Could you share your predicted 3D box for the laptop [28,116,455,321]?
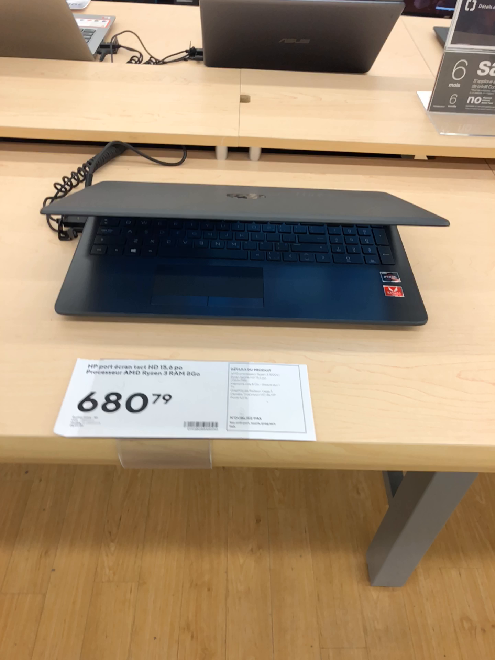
[{"bbox_3d":[-0.001,-0.128,0.585,0.366,0.090,0.243,1,44,-3],"label":"laptop"}]
